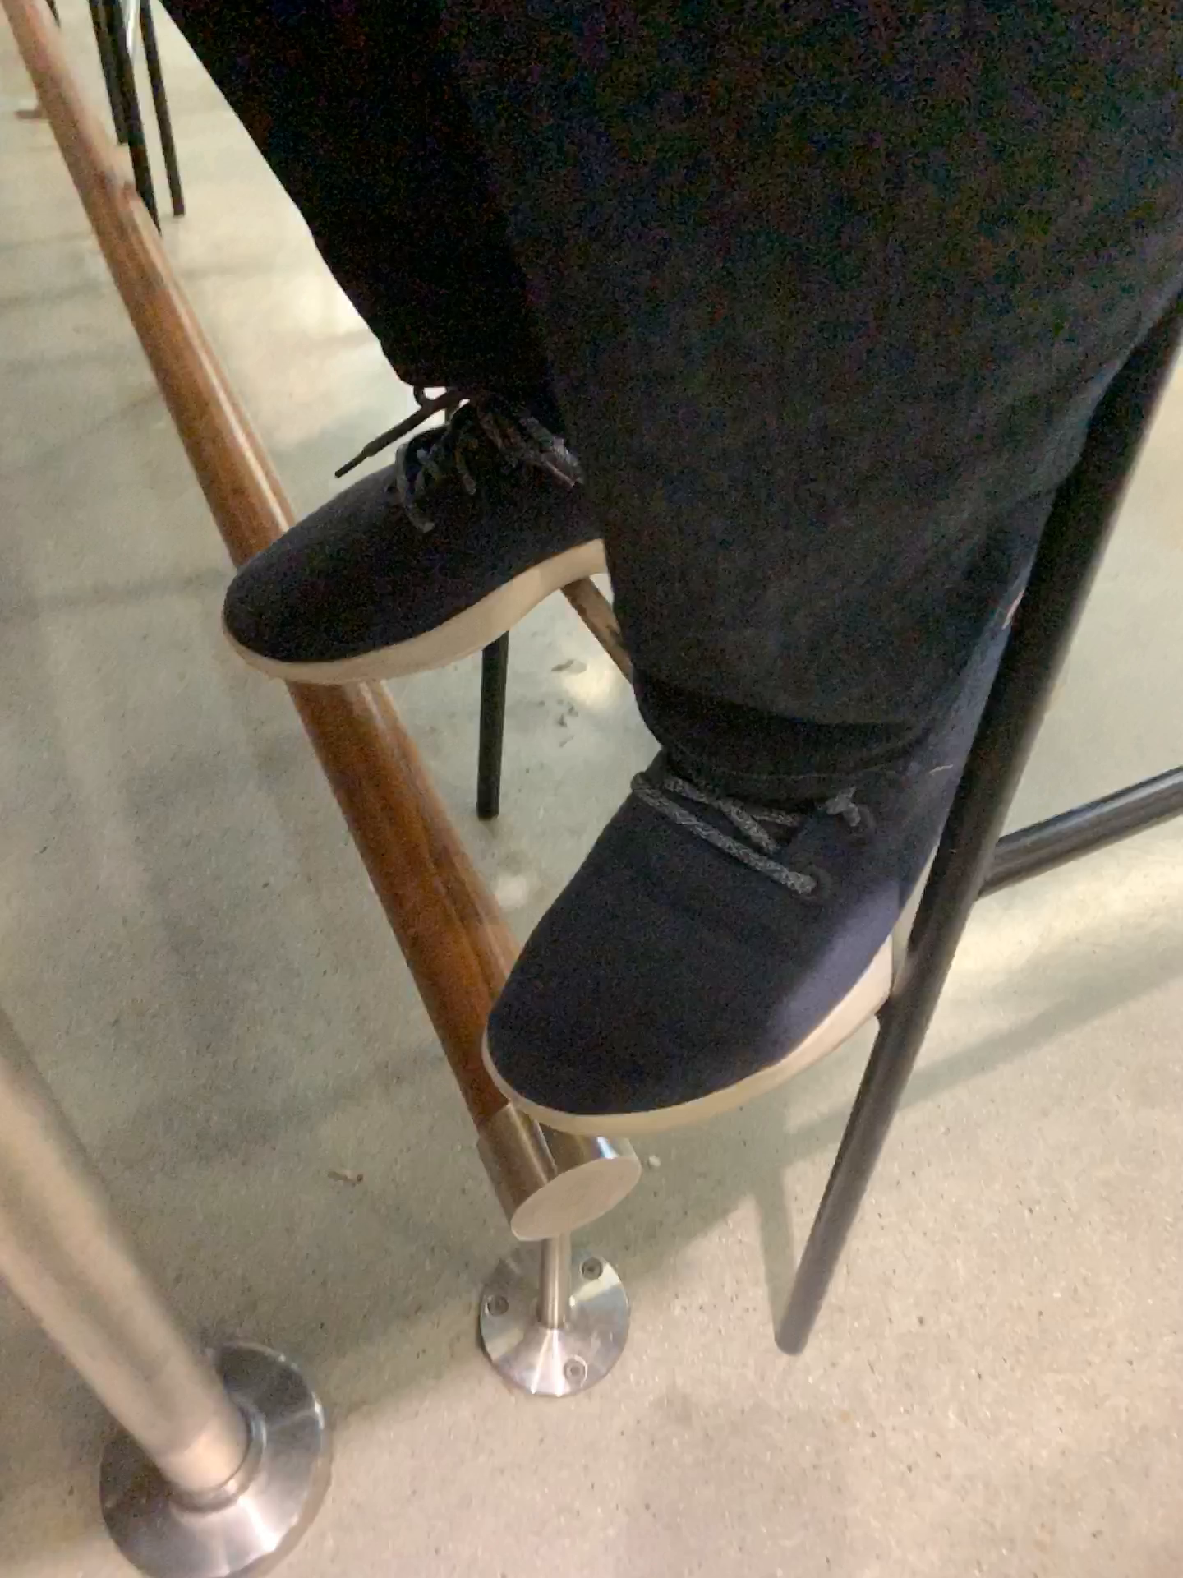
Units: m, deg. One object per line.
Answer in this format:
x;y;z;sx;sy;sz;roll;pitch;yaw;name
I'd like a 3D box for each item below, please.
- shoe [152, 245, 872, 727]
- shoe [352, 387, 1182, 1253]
-0.037;-0.145;0.572;0.300;0.093;0.129;-16;44;0;shoe
0.077;-0.005;0.439;0.124;0.093;0.299;33;67;30;shoe
